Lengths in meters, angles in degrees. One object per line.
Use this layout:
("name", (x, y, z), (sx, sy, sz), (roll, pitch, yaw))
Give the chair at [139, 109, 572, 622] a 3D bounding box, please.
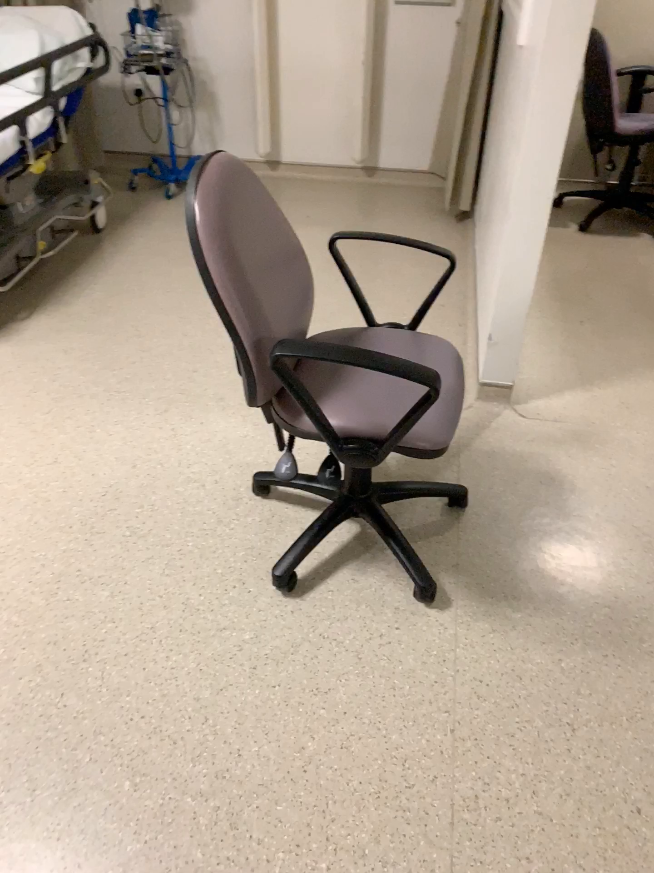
("chair", (0.077, -0.171, 1.518), (0.654, 0.899, 0.638), (7, 37, 7))
